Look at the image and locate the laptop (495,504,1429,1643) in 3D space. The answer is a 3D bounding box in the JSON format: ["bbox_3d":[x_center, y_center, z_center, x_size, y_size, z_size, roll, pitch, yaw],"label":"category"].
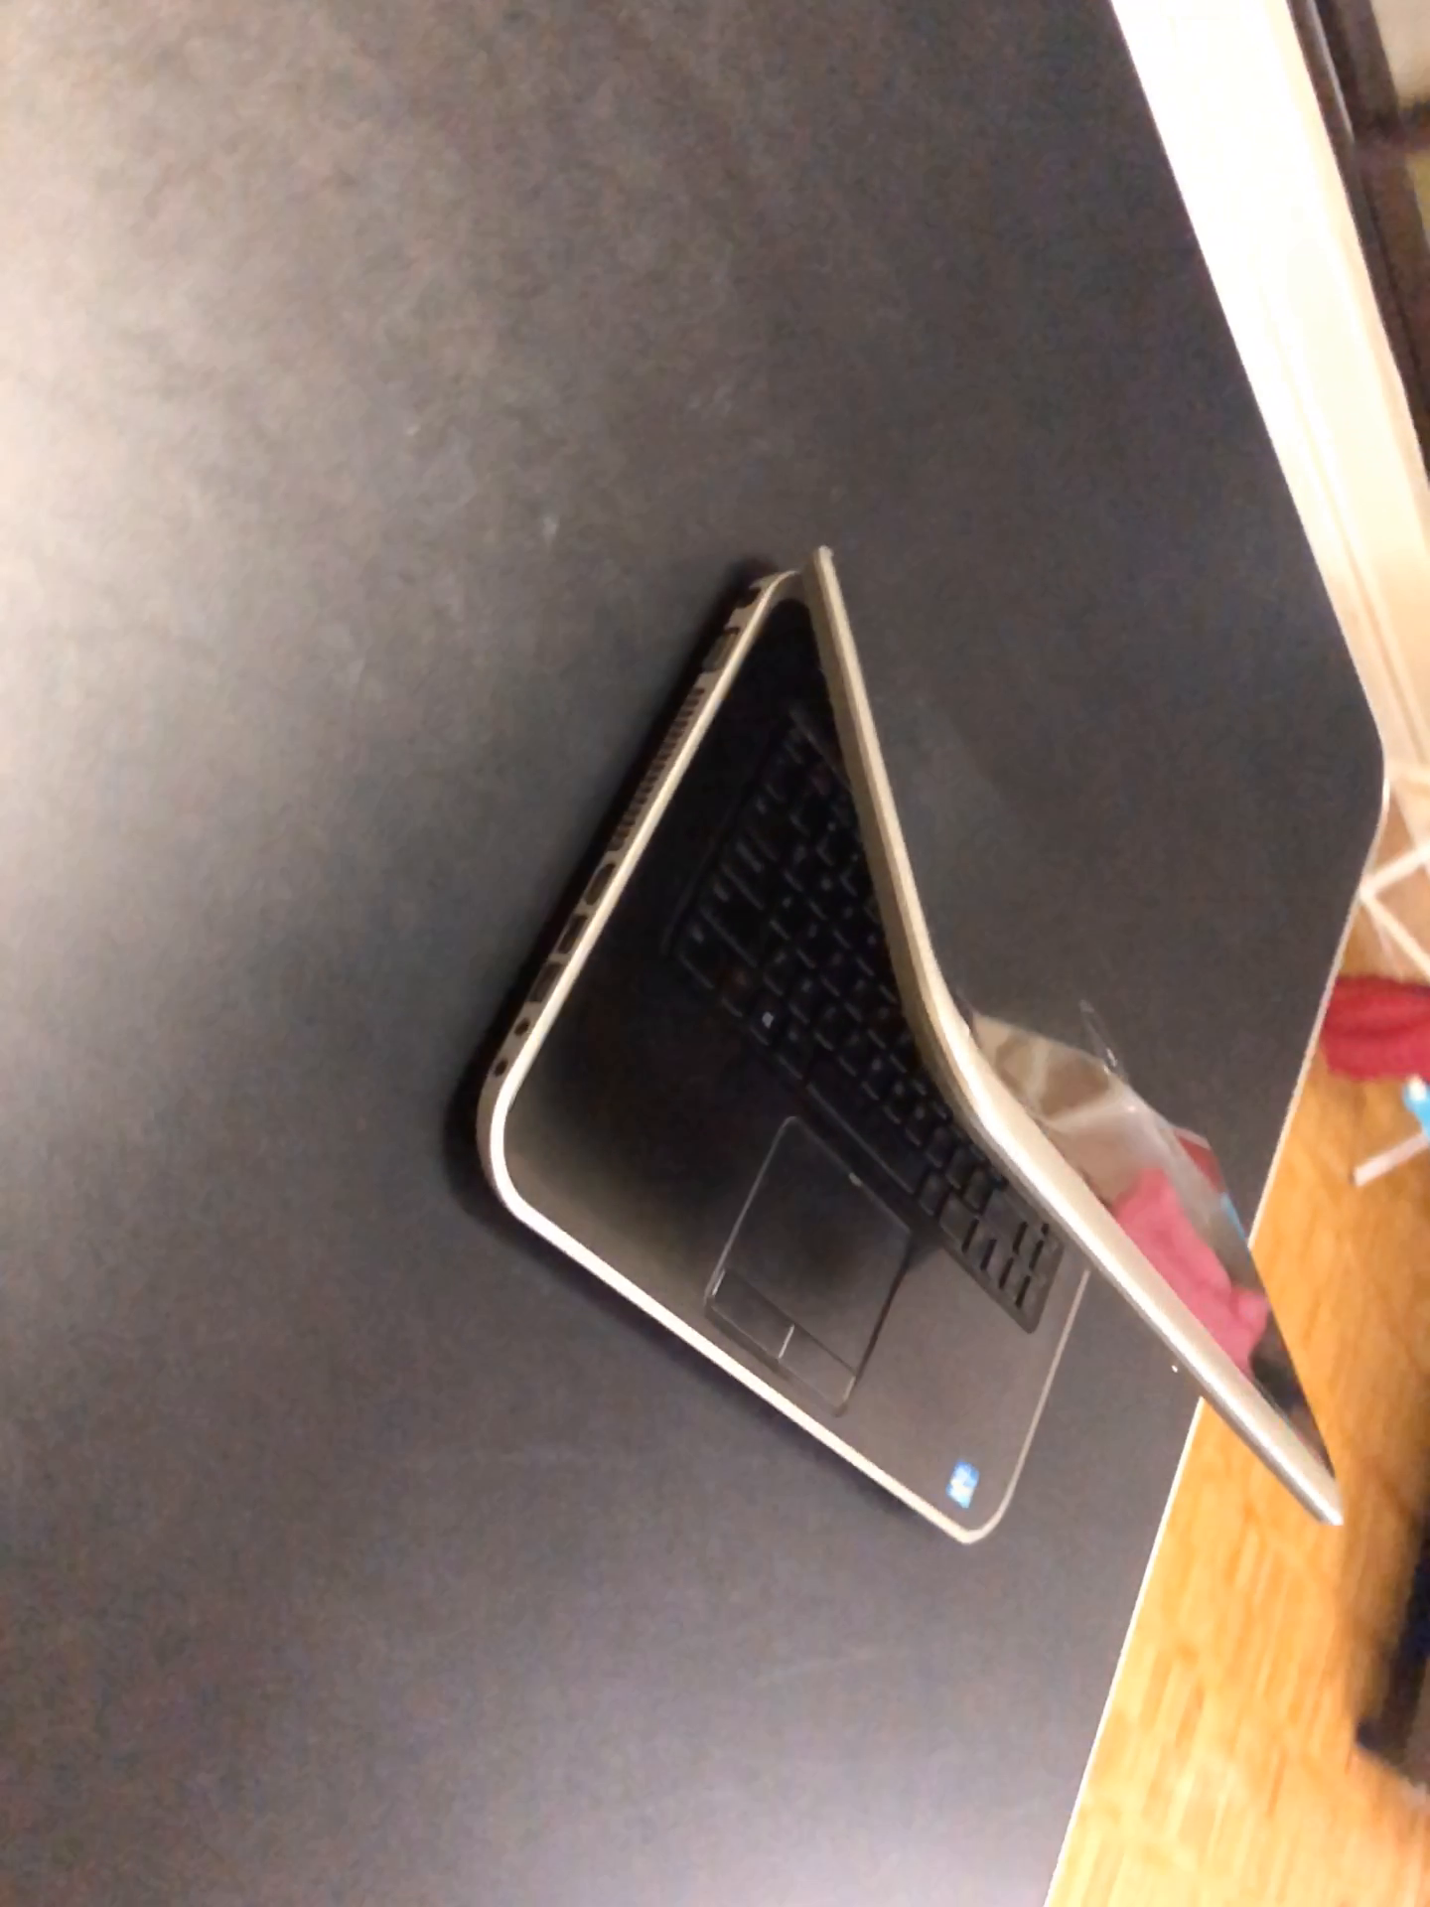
[{"bbox_3d":[0.126,0.063,0.576,0.357,0.137,0.240,46,60,-41],"label":"laptop"}]
